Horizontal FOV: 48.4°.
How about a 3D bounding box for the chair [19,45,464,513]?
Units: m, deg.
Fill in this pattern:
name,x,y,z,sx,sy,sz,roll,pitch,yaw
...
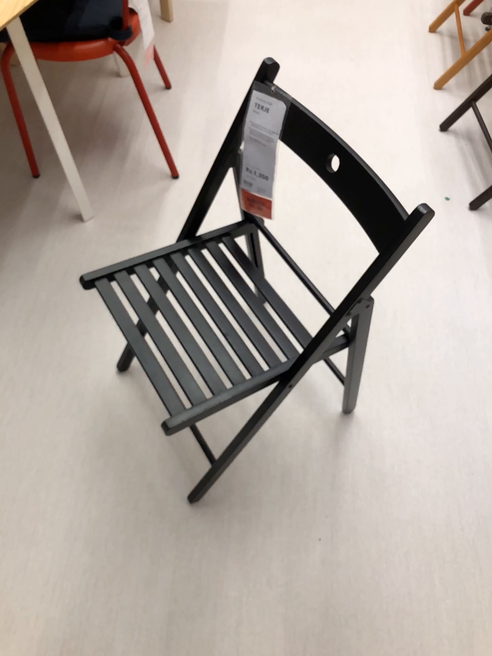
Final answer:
name,x,y,z,sx,sy,sz,roll,pitch,yaw
chair,-0.027,-0.037,1.095,0.481,0.727,0.441,-27,63,-17
